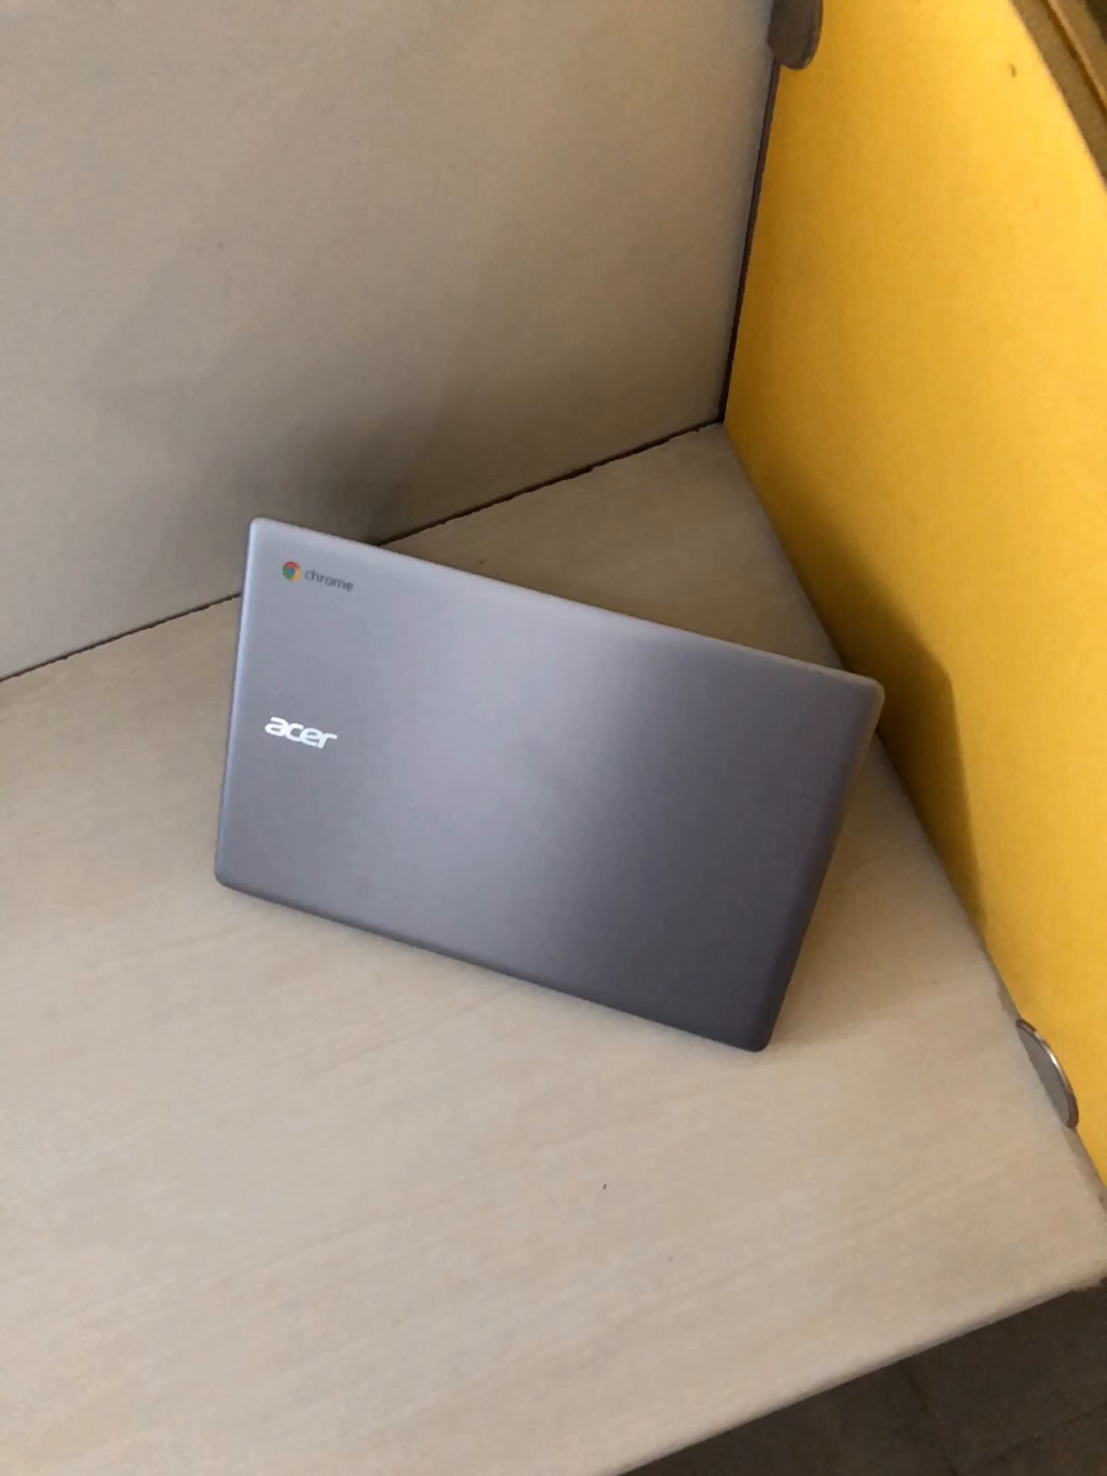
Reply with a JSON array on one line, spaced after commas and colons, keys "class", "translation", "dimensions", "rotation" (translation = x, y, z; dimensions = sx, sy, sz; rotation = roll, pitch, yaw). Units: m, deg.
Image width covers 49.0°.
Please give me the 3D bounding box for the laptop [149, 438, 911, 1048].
[{"class": "laptop", "translation": [-0.006, 0.007, 0.651], "dimensions": [0.314, 0.135, 0.221], "rotation": [16, 75, 7]}]
